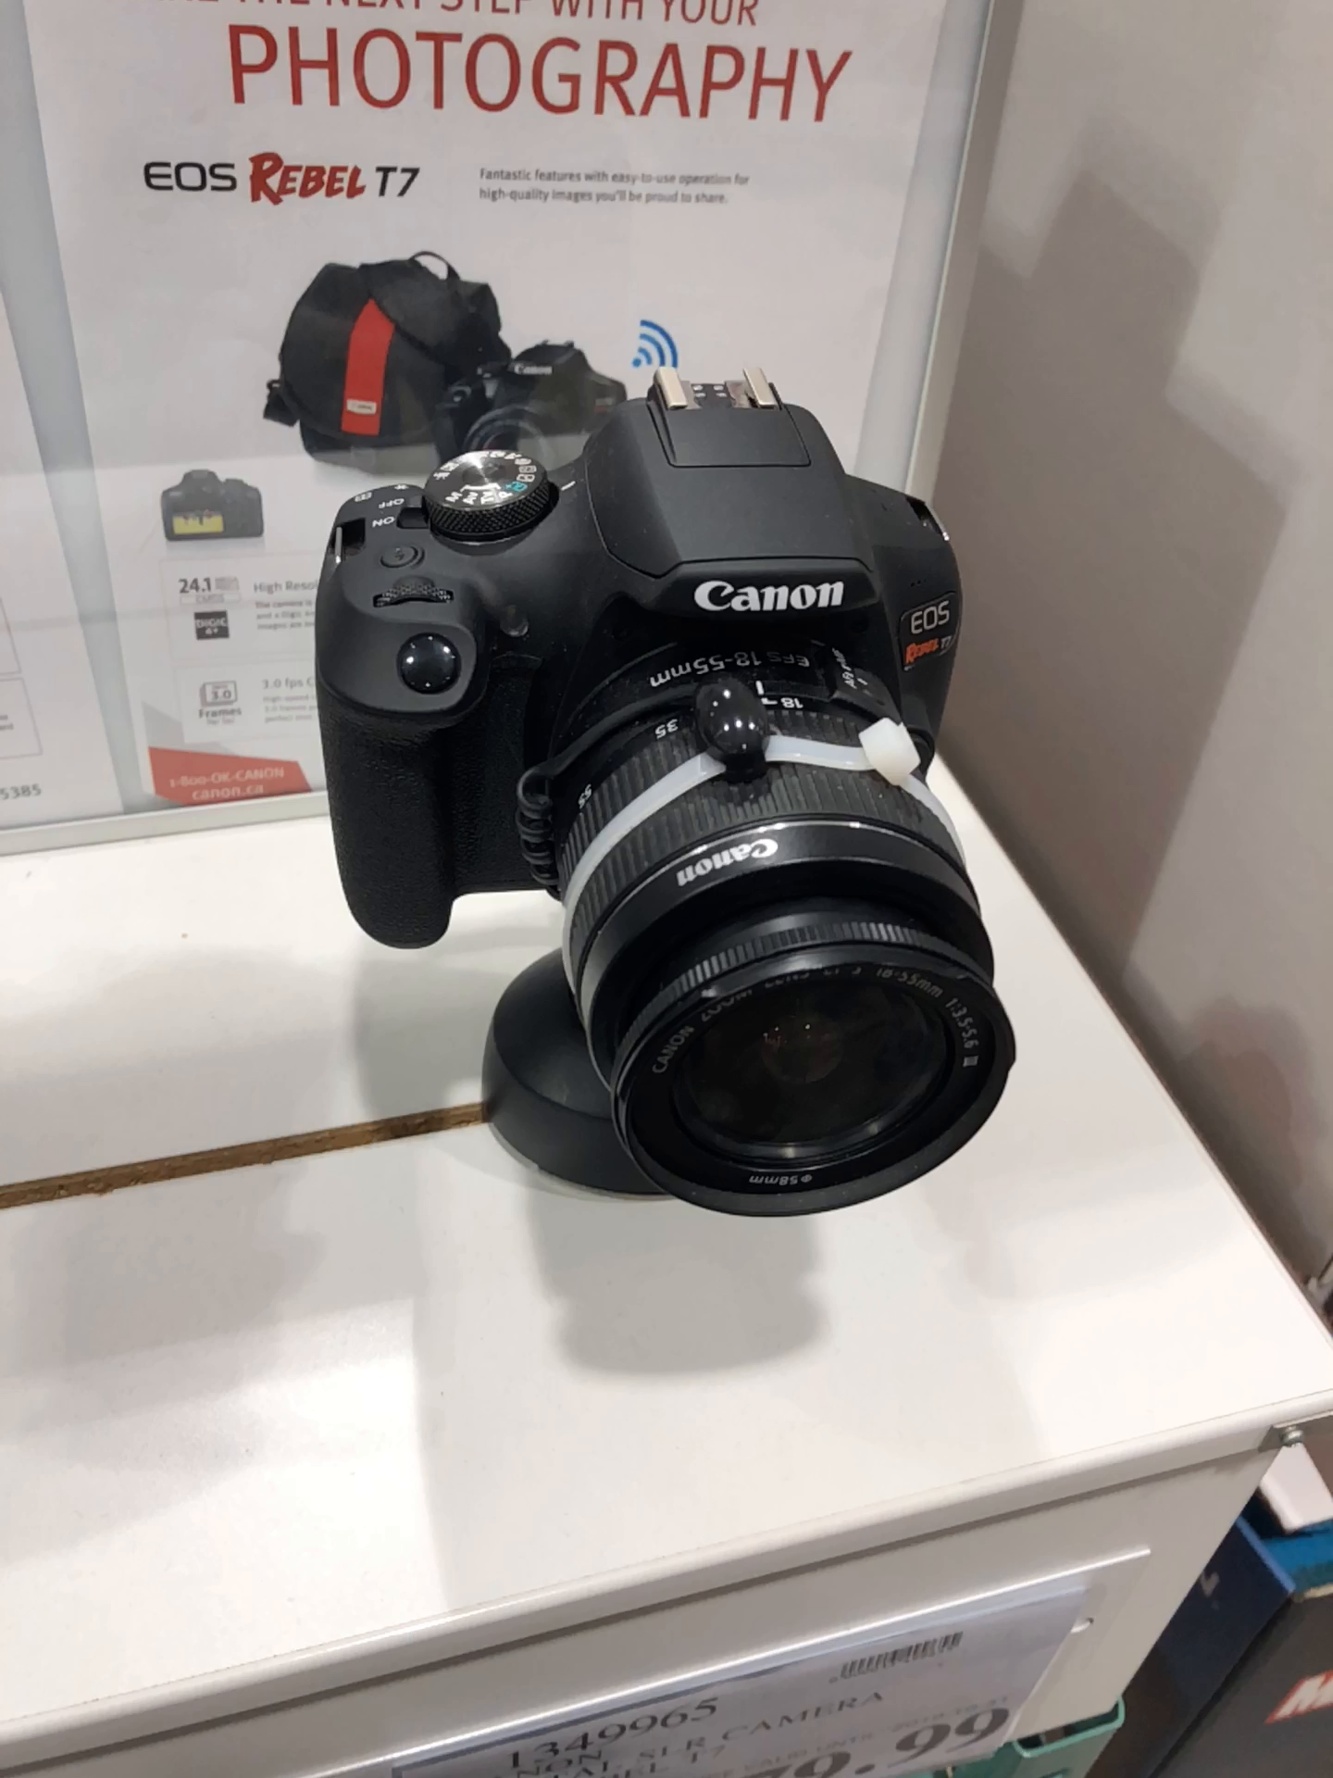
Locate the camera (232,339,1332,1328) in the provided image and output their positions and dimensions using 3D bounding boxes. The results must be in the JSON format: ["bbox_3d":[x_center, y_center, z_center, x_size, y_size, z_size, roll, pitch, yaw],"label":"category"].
[{"bbox_3d":[0.004,-0.022,0.258,0.140,0.090,0.140,-6,42,-11],"label":"camera"}]
